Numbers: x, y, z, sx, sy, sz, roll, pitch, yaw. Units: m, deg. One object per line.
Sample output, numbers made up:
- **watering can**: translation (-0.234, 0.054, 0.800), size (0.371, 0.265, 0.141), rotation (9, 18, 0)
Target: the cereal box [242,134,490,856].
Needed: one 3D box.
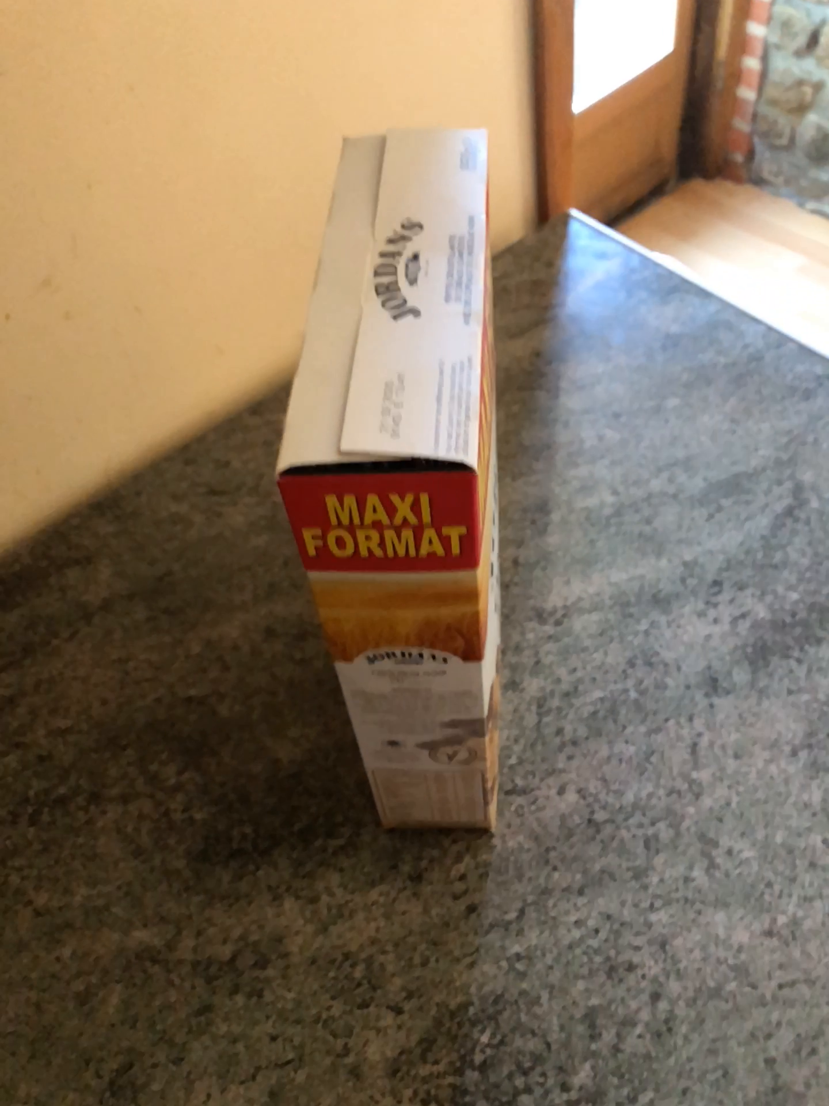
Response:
- **cereal box**: translation (0.000, -0.005, 0.445), size (0.070, 0.298, 0.201), rotation (0, 53, 5)
